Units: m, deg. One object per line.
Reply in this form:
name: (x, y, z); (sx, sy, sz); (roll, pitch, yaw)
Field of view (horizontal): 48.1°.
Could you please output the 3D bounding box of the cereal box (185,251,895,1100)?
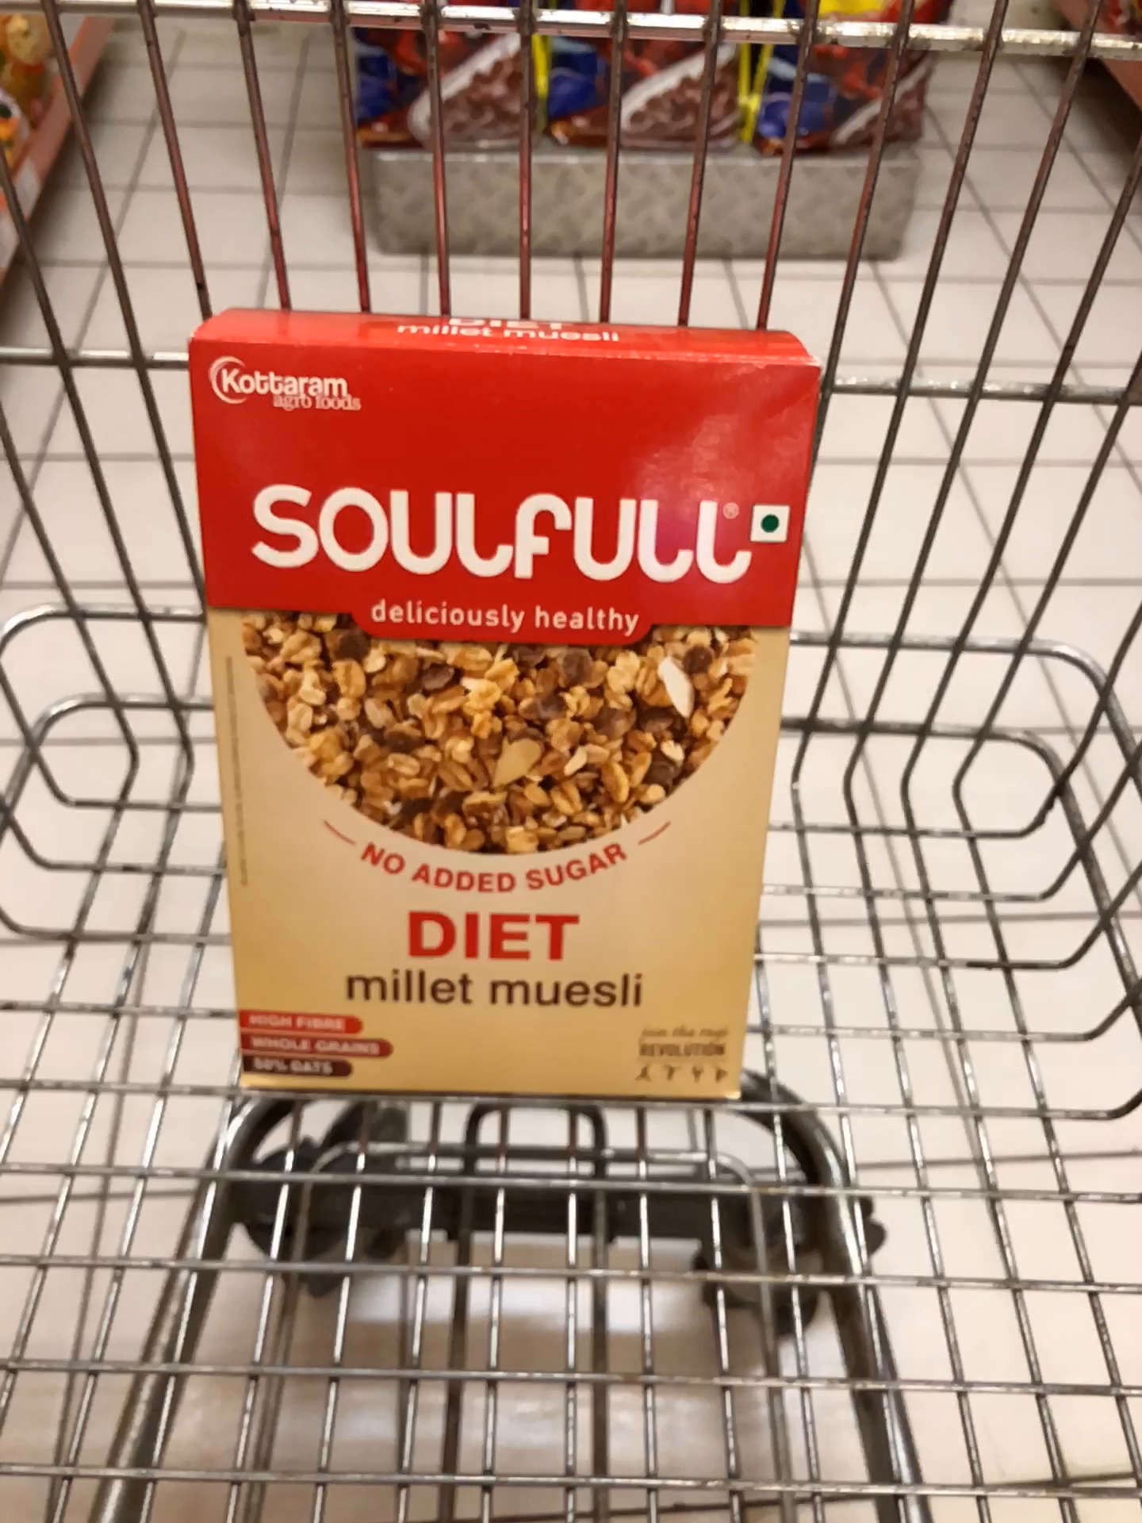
cereal box: (-0.013, -0.013, 0.385); (0.170, 0.249, 0.050); (2, 27, -2)
